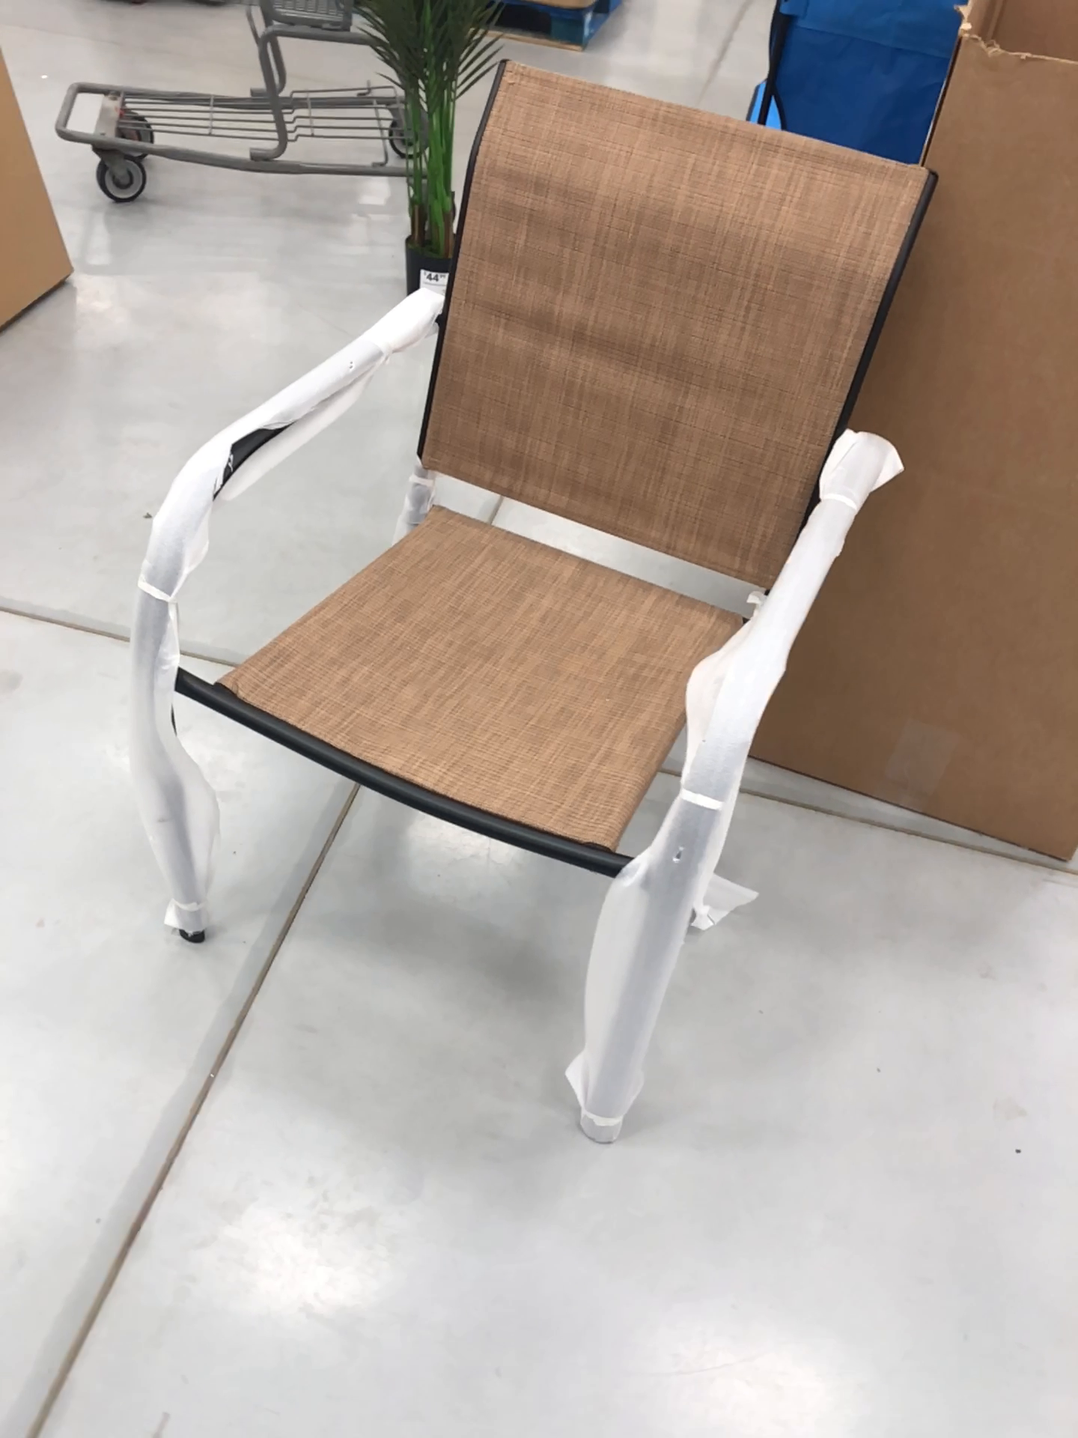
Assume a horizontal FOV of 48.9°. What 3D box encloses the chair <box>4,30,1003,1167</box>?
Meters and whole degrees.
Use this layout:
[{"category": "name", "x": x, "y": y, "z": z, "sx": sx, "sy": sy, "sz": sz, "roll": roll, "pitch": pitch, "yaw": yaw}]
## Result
[{"category": "chair", "x": -0.015, "y": -0.130, "z": 1.284, "sx": 0.620, "sy": 0.876, "sz": 0.632, "roll": 22, "pitch": 44, "yaw": 14}]
